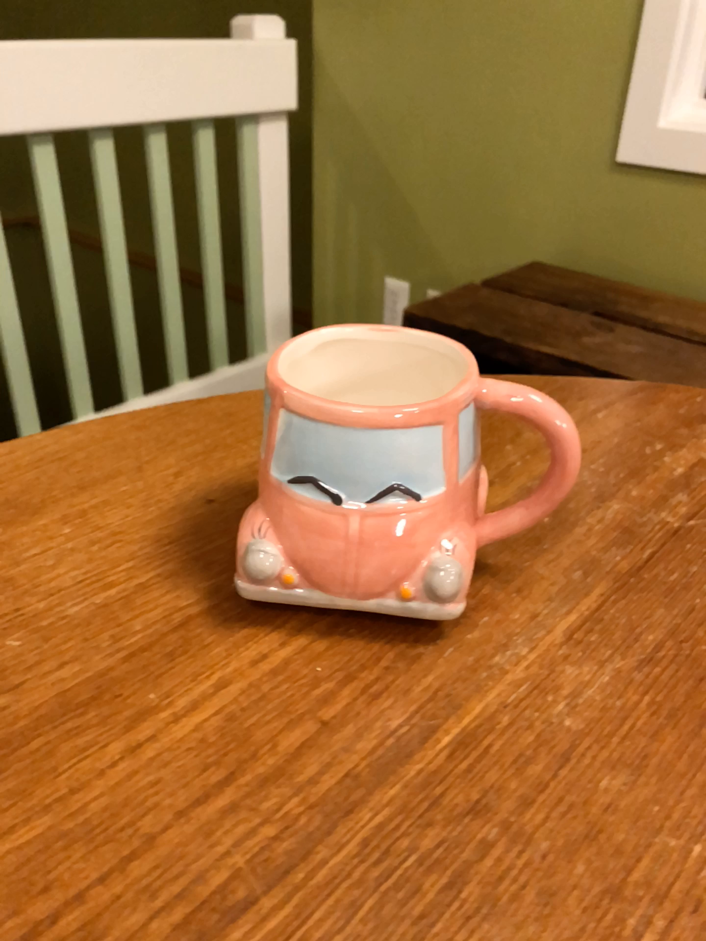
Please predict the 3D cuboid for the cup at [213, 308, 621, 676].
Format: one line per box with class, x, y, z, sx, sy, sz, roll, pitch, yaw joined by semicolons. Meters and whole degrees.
cup;0.028;0.000;0.346;0.139;0.097;0.128;1;30;-1
